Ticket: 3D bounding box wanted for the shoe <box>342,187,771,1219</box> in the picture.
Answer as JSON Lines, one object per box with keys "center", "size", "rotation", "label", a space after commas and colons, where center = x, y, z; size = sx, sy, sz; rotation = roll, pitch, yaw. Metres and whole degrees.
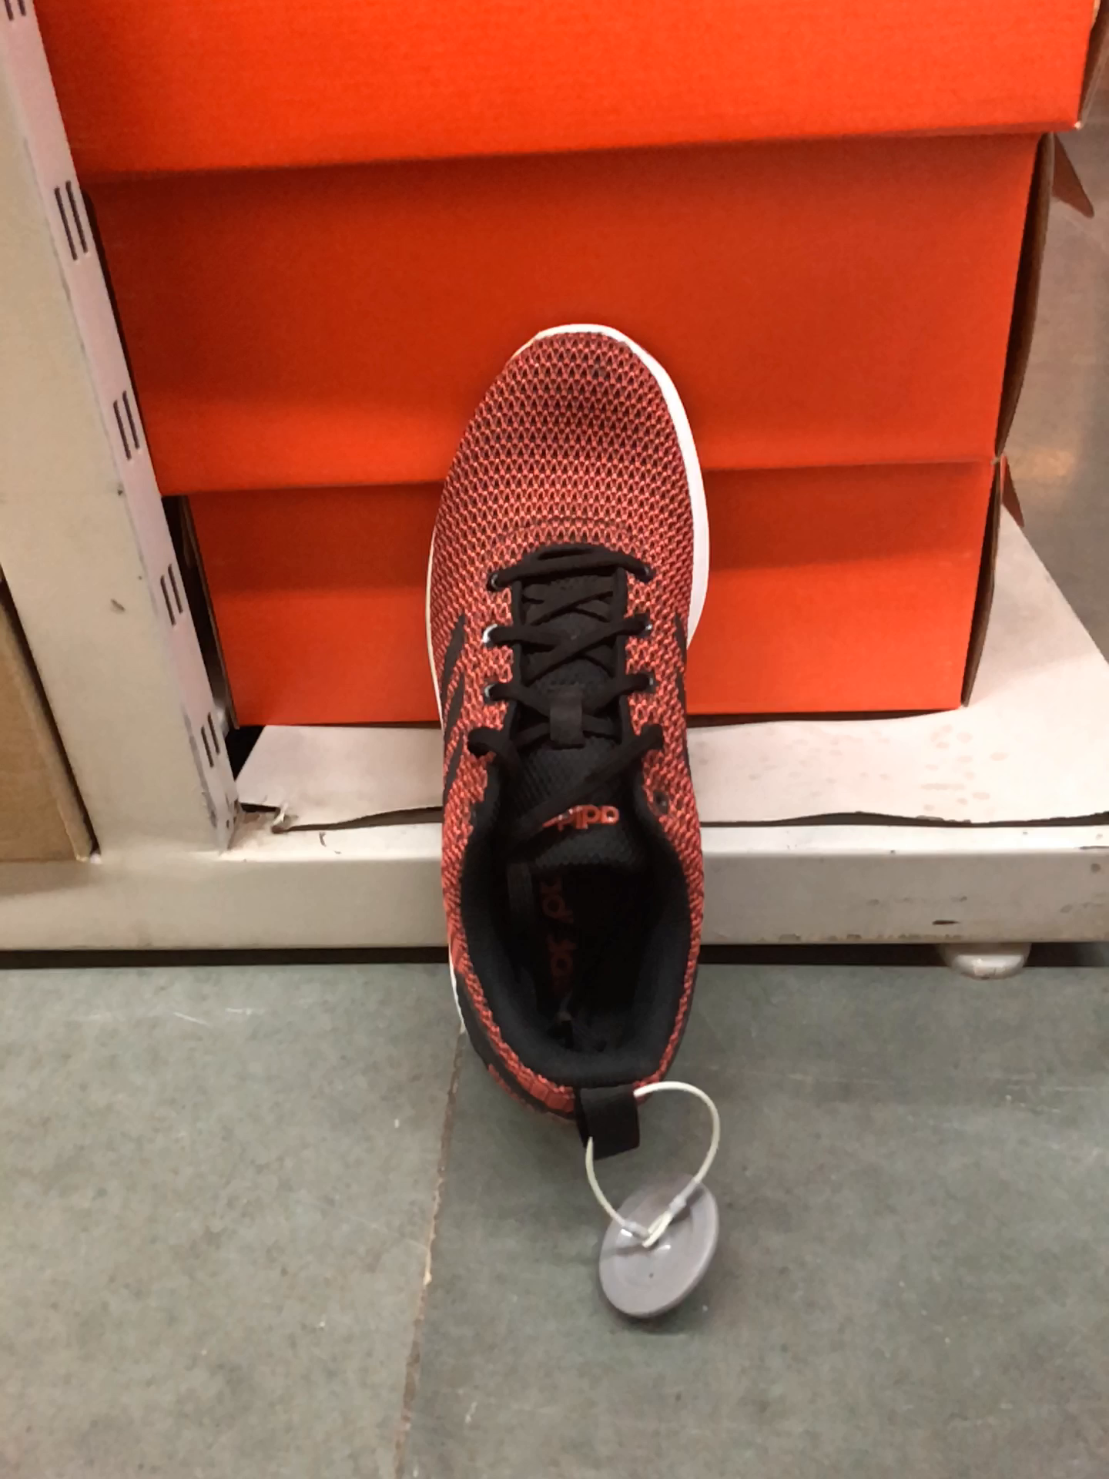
{"center": [0.004, -0.011, 0.390], "size": [0.110, 0.272, 0.132], "rotation": [1, -1, 3], "label": "shoe"}
